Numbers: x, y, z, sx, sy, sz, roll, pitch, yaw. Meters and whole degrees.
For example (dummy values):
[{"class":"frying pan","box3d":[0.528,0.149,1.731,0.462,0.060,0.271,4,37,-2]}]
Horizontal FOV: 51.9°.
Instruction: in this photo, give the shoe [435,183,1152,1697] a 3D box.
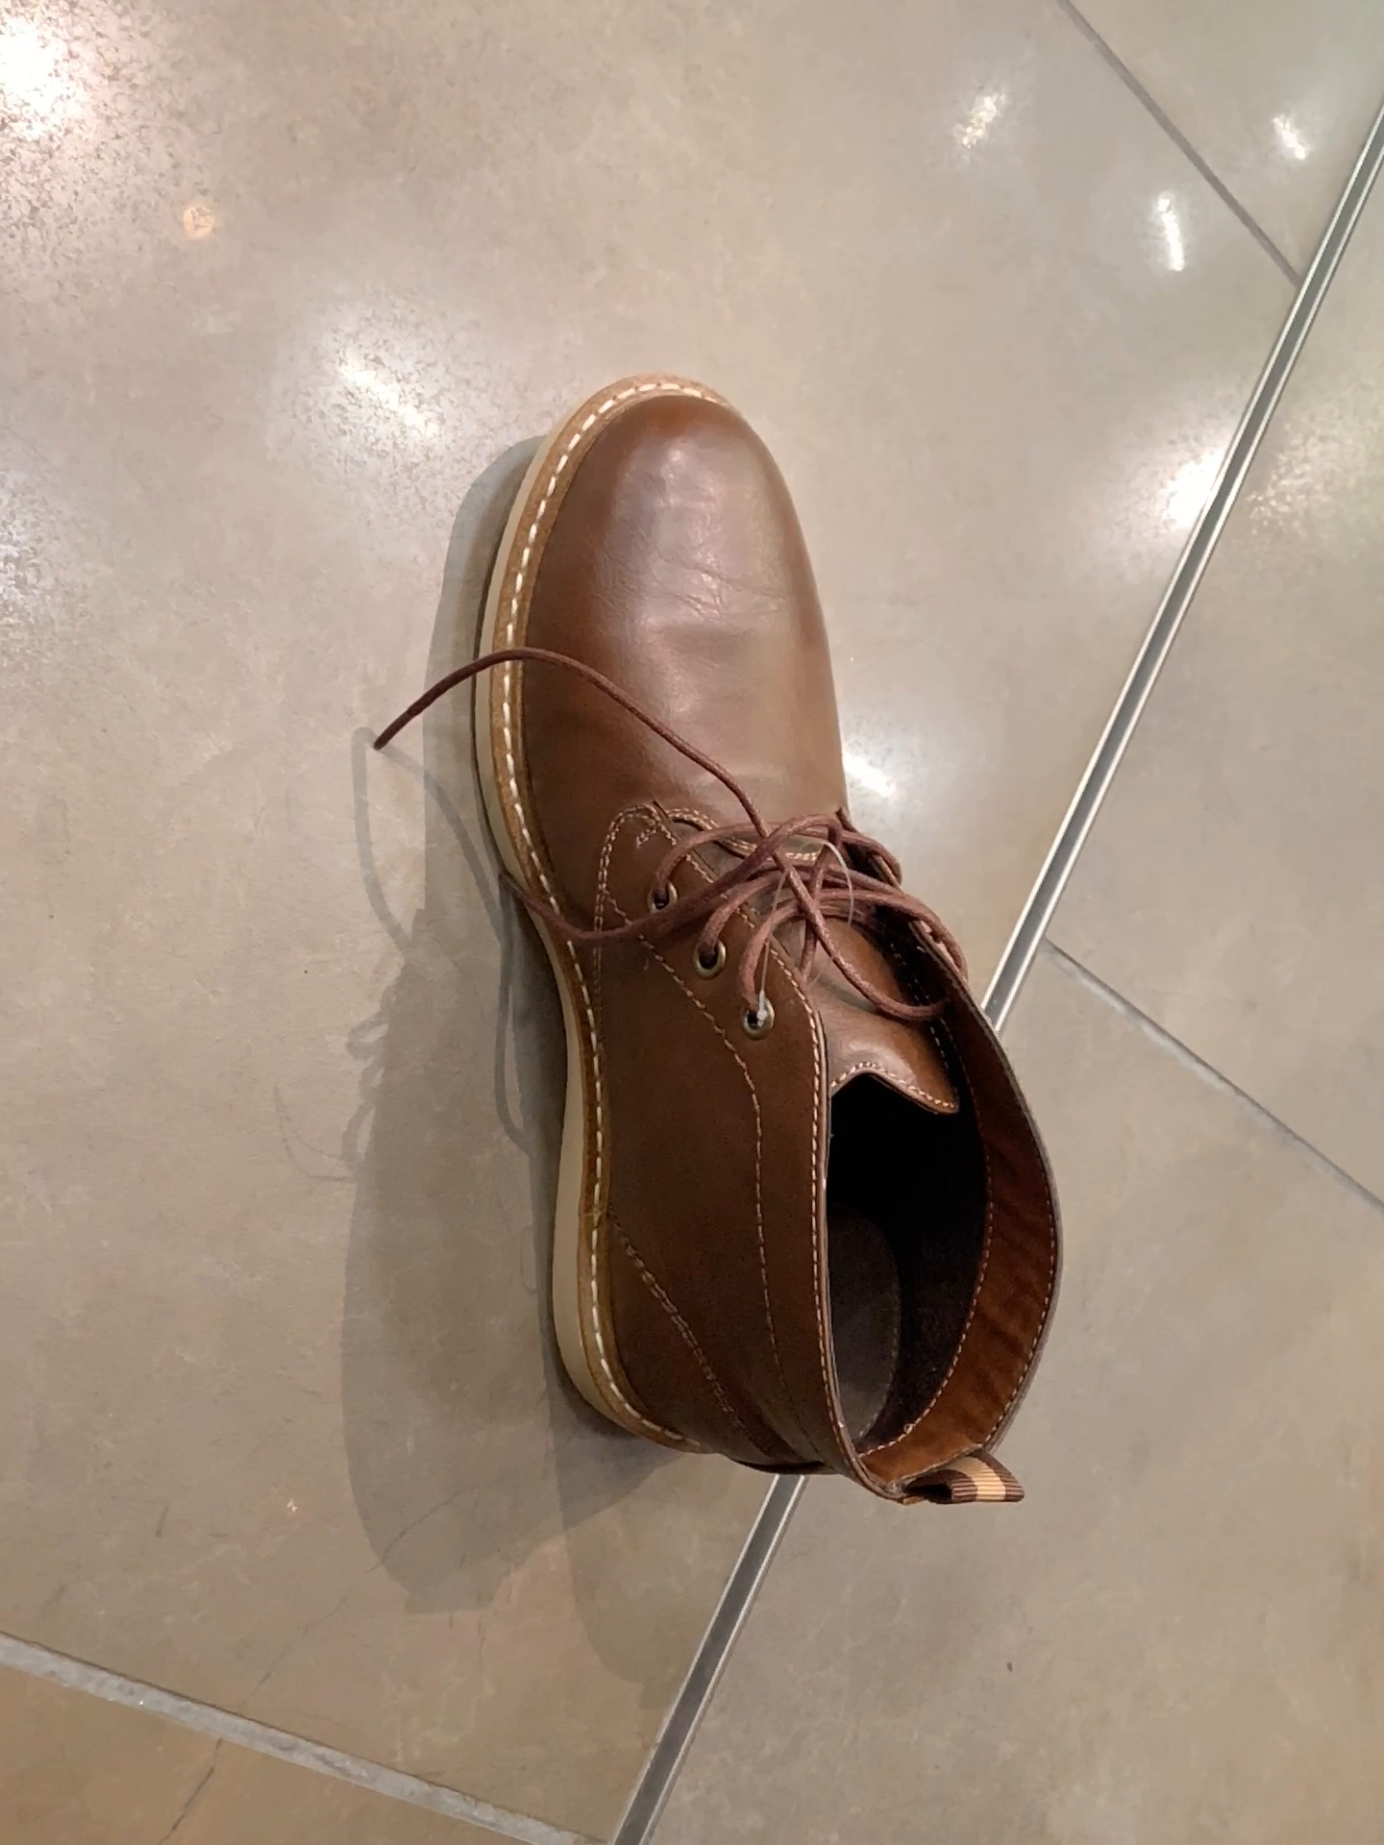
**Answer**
[{"class":"shoe","box3d":[0.018,0.002,0.354,0.107,0.120,0.294,-5,90,-29]}]
